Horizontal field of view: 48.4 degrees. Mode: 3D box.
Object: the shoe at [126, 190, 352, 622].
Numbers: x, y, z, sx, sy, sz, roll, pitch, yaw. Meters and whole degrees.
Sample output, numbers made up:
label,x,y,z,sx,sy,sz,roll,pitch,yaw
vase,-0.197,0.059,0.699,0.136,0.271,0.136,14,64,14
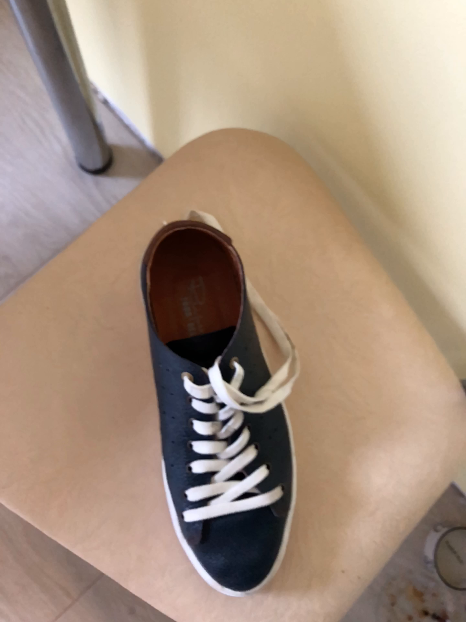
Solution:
label,x,y,z,sx,sy,sz,roll,pitch,yaw
shoe,-0.004,0.070,0.386,0.110,0.090,0.290,-7,81,-7
